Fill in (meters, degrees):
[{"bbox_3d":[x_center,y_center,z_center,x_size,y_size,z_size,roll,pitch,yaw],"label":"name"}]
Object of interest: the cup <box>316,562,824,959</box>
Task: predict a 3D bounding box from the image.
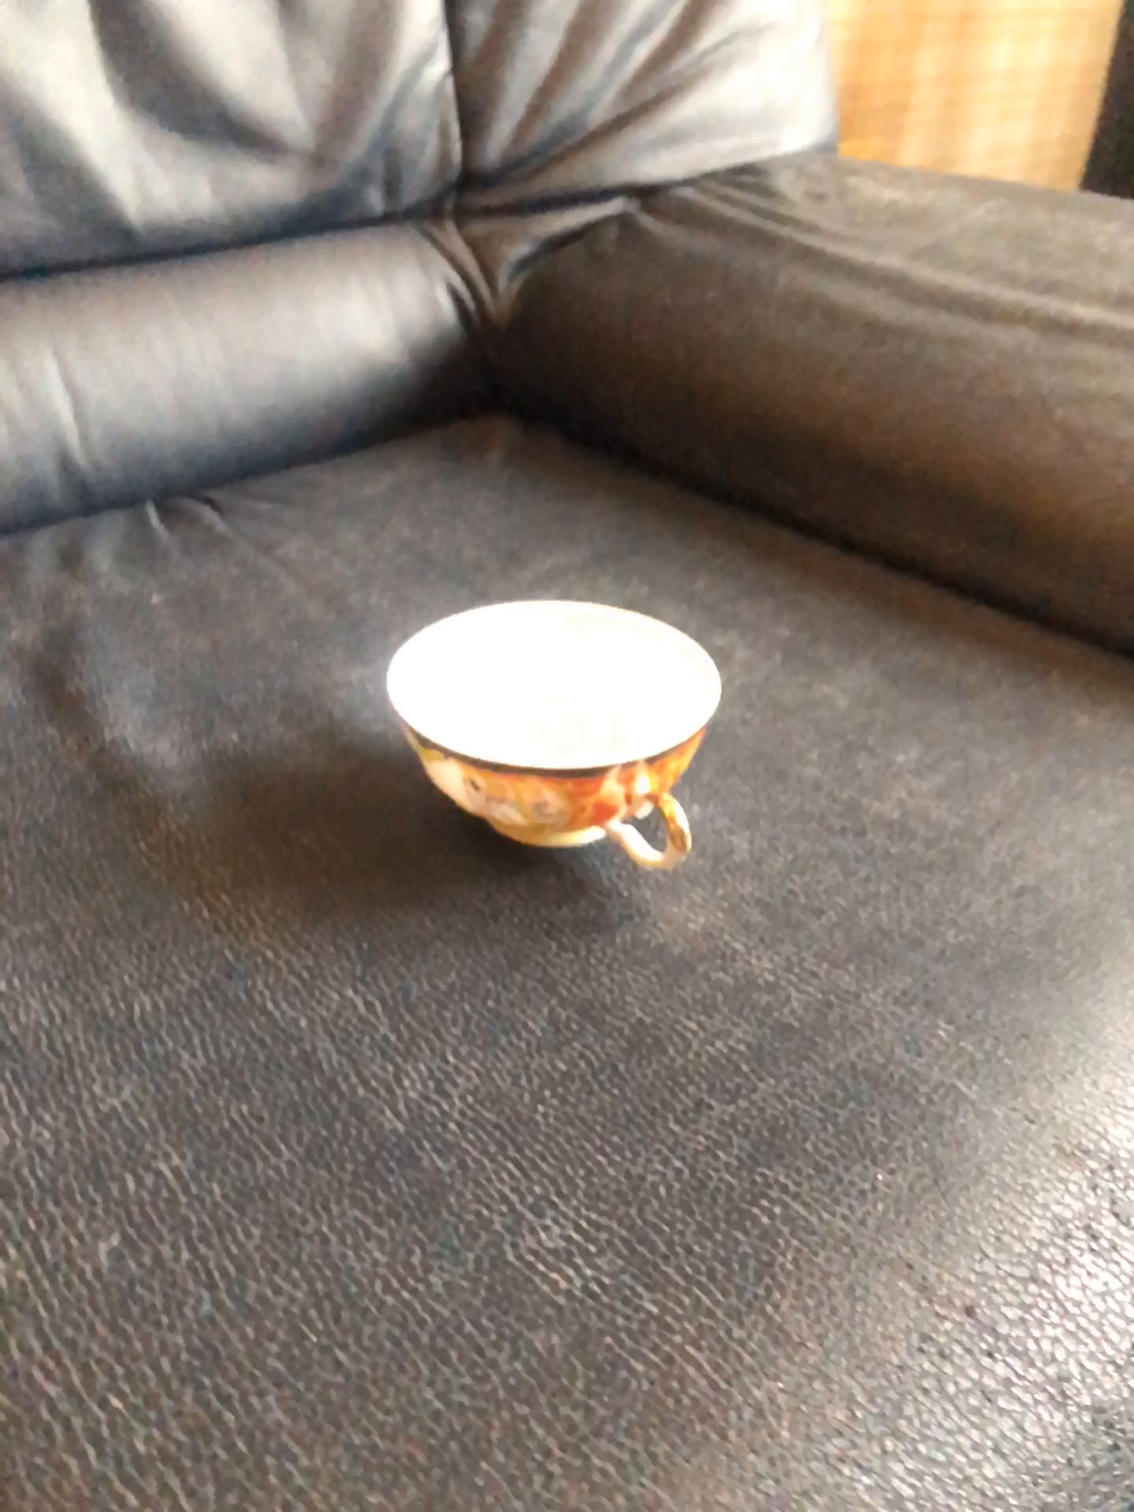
[{"bbox_3d":[-0.002,-0.006,0.370,0.100,0.041,0.107,3,34,-2],"label":"cup"}]
